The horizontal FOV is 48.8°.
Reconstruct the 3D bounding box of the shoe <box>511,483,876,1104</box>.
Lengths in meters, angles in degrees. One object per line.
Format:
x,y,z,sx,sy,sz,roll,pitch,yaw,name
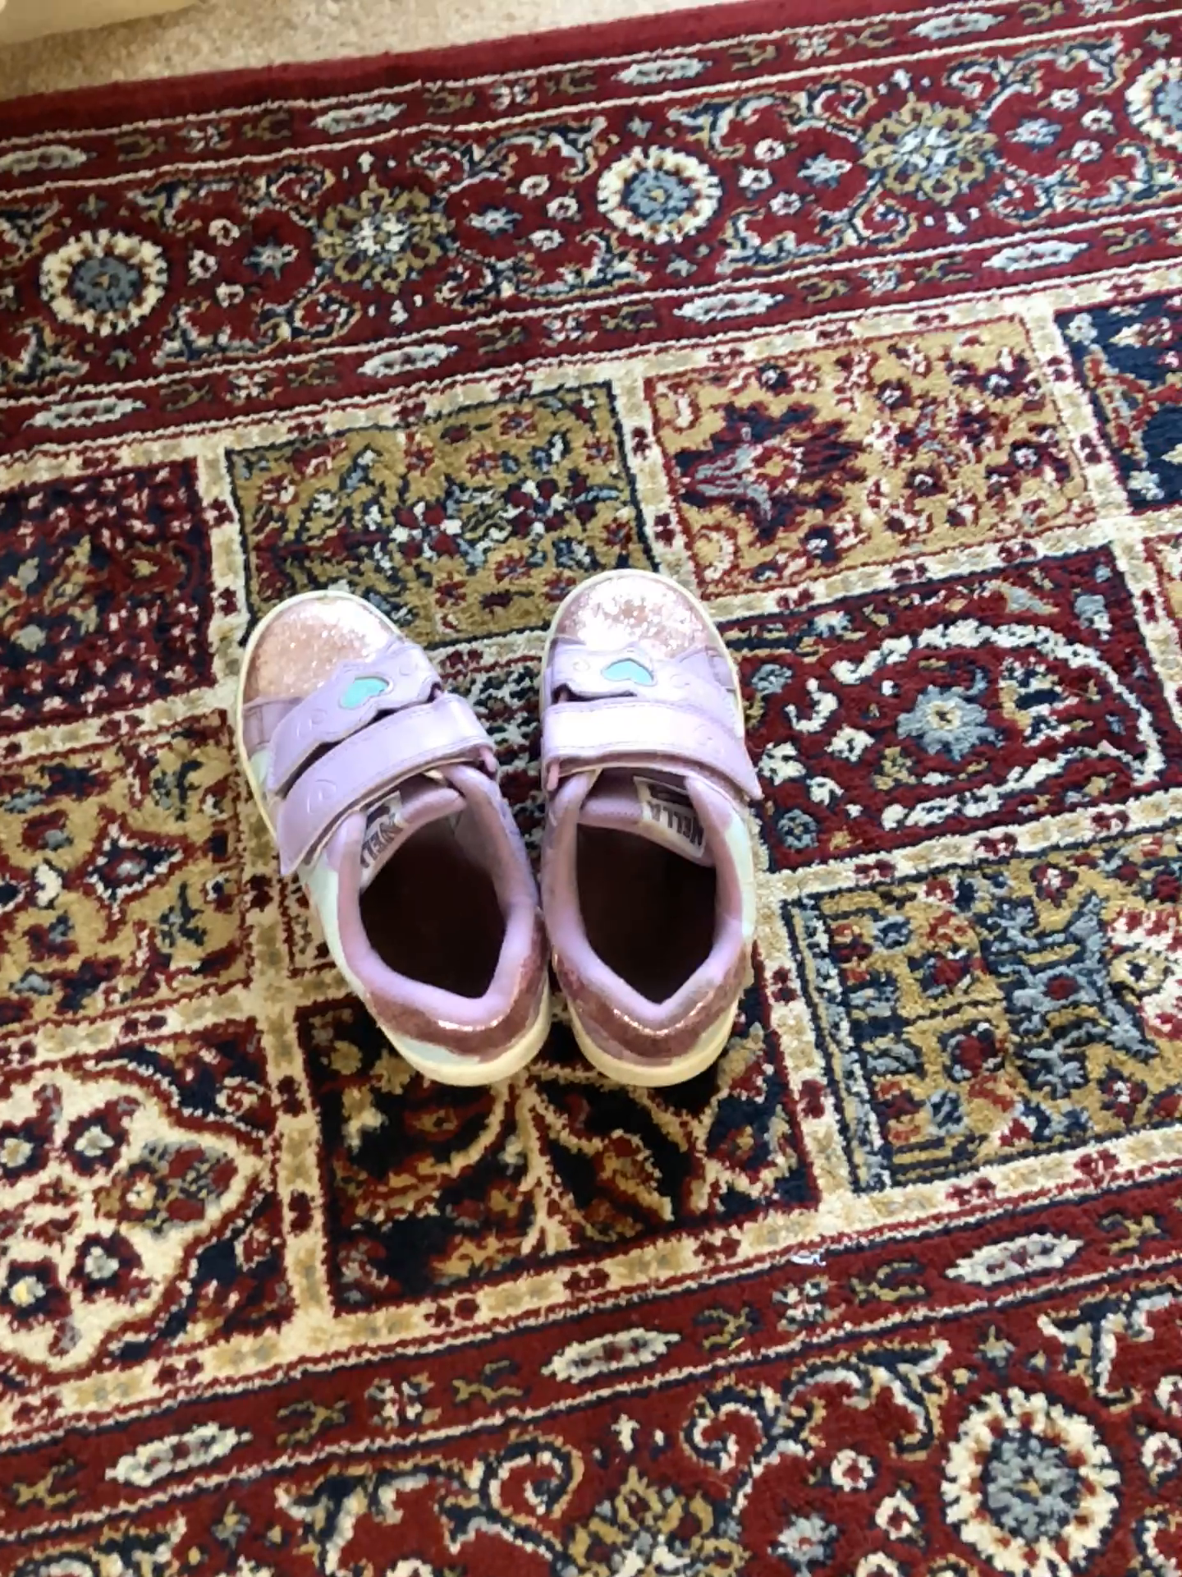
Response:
0.029,0.004,0.473,0.100,0.090,0.200,-4,71,-2,shoe

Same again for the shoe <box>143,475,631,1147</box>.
-0.072,0.009,0.473,0.090,0.090,0.209,-23,73,-8,shoe
